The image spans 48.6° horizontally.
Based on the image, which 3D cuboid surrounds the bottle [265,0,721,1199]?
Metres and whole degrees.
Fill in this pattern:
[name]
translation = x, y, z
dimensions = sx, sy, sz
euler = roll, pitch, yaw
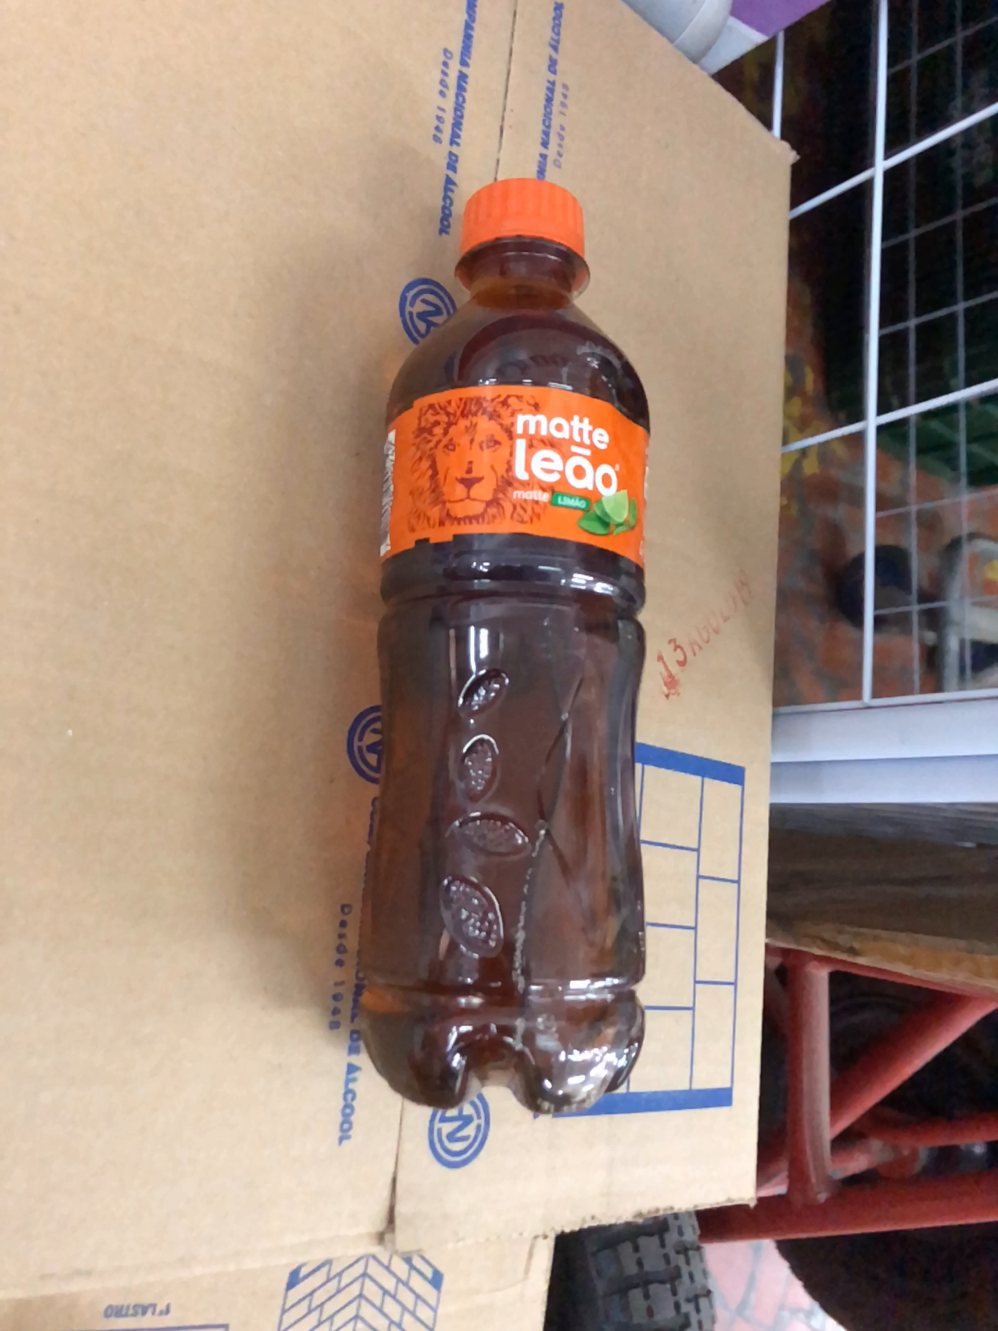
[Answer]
[bottle]
translation = 0.002, -0.016, 0.240
dimensions = 0.070, 0.060, 0.220
euler = 8, 79, -39
